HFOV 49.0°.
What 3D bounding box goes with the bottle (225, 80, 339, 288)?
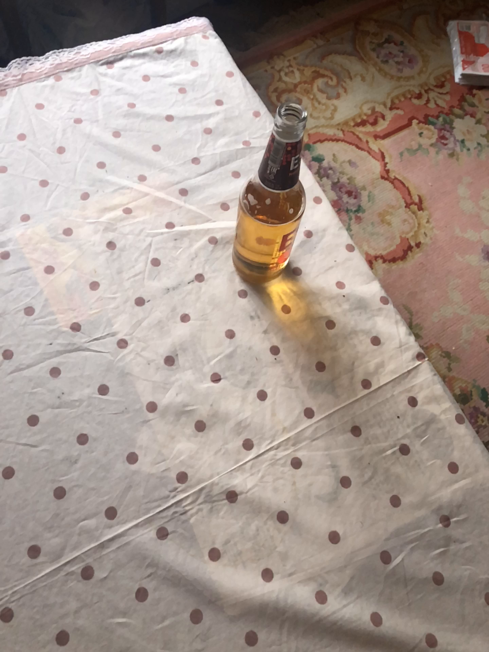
[{"bbox_3d":[0.029,-0.127,0.537,0.080,0.209,0.080,1,67,-3],"label":"bottle"}]
